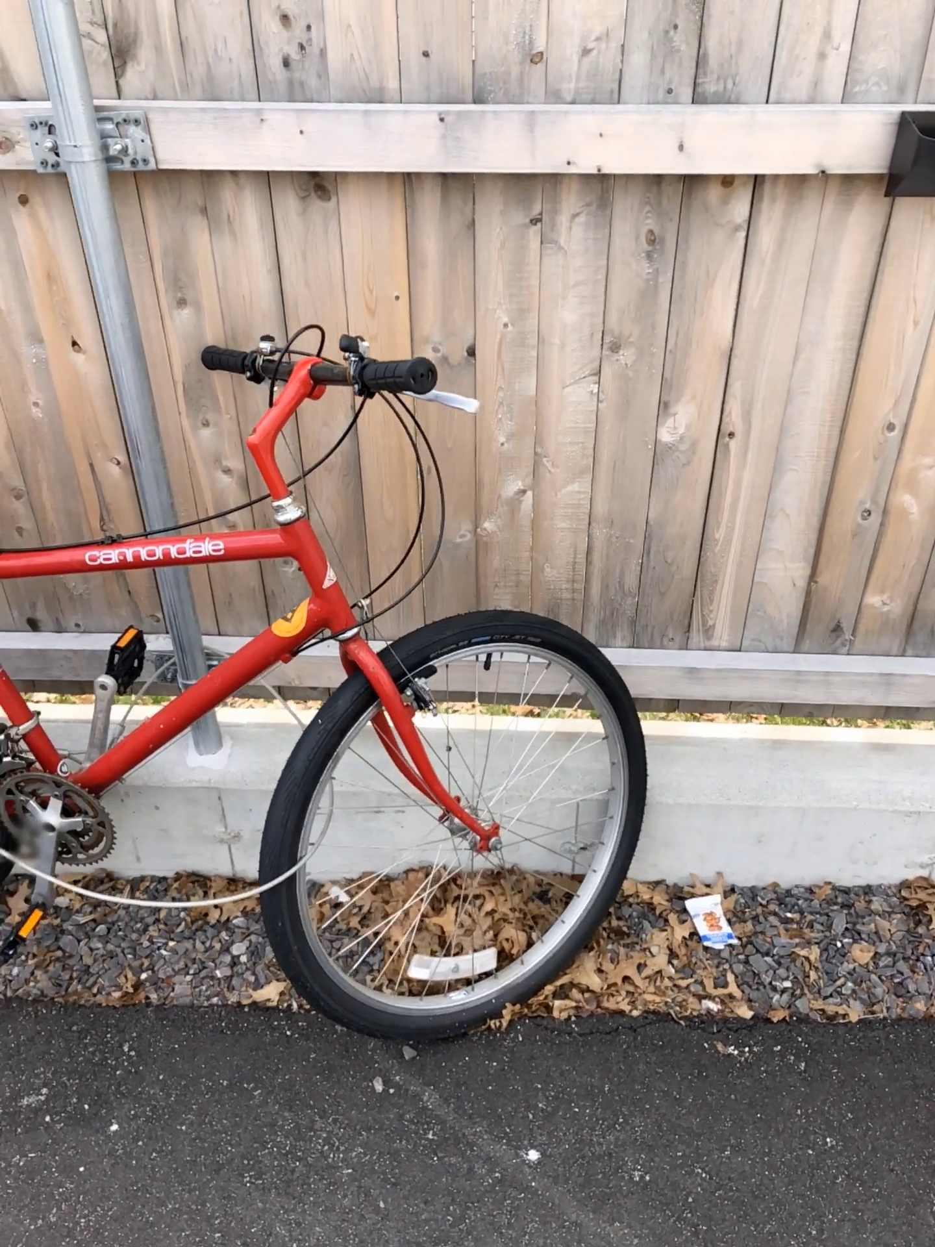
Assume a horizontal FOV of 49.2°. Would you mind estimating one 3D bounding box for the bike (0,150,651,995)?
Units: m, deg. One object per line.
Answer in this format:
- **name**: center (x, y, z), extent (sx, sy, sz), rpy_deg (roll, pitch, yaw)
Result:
- **bike**: center (-0.529, -0.040, 1.508), extent (1.473, 1.001, 0.596), rpy_deg (-1, 33, 5)
